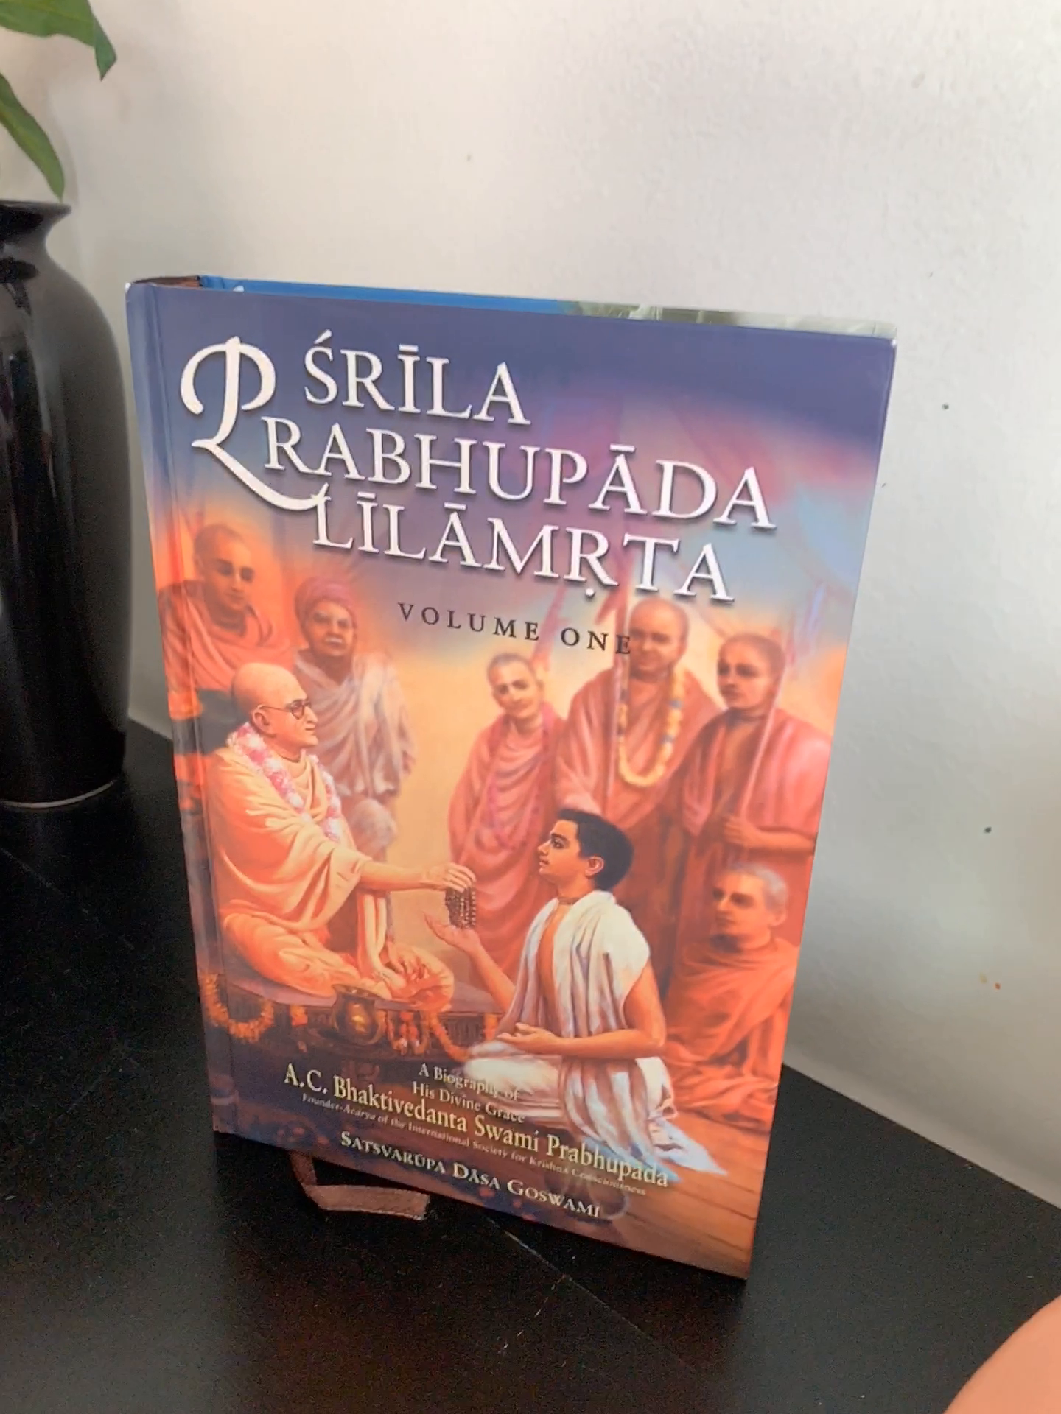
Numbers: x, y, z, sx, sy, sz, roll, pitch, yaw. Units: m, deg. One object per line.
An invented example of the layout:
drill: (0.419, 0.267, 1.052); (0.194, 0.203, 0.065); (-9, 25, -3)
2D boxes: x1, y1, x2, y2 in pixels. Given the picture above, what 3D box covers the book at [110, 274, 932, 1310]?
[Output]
book: (-0.010, 0.026, 0.266); (0.161, 0.233, 0.030); (10, 25, 15)
